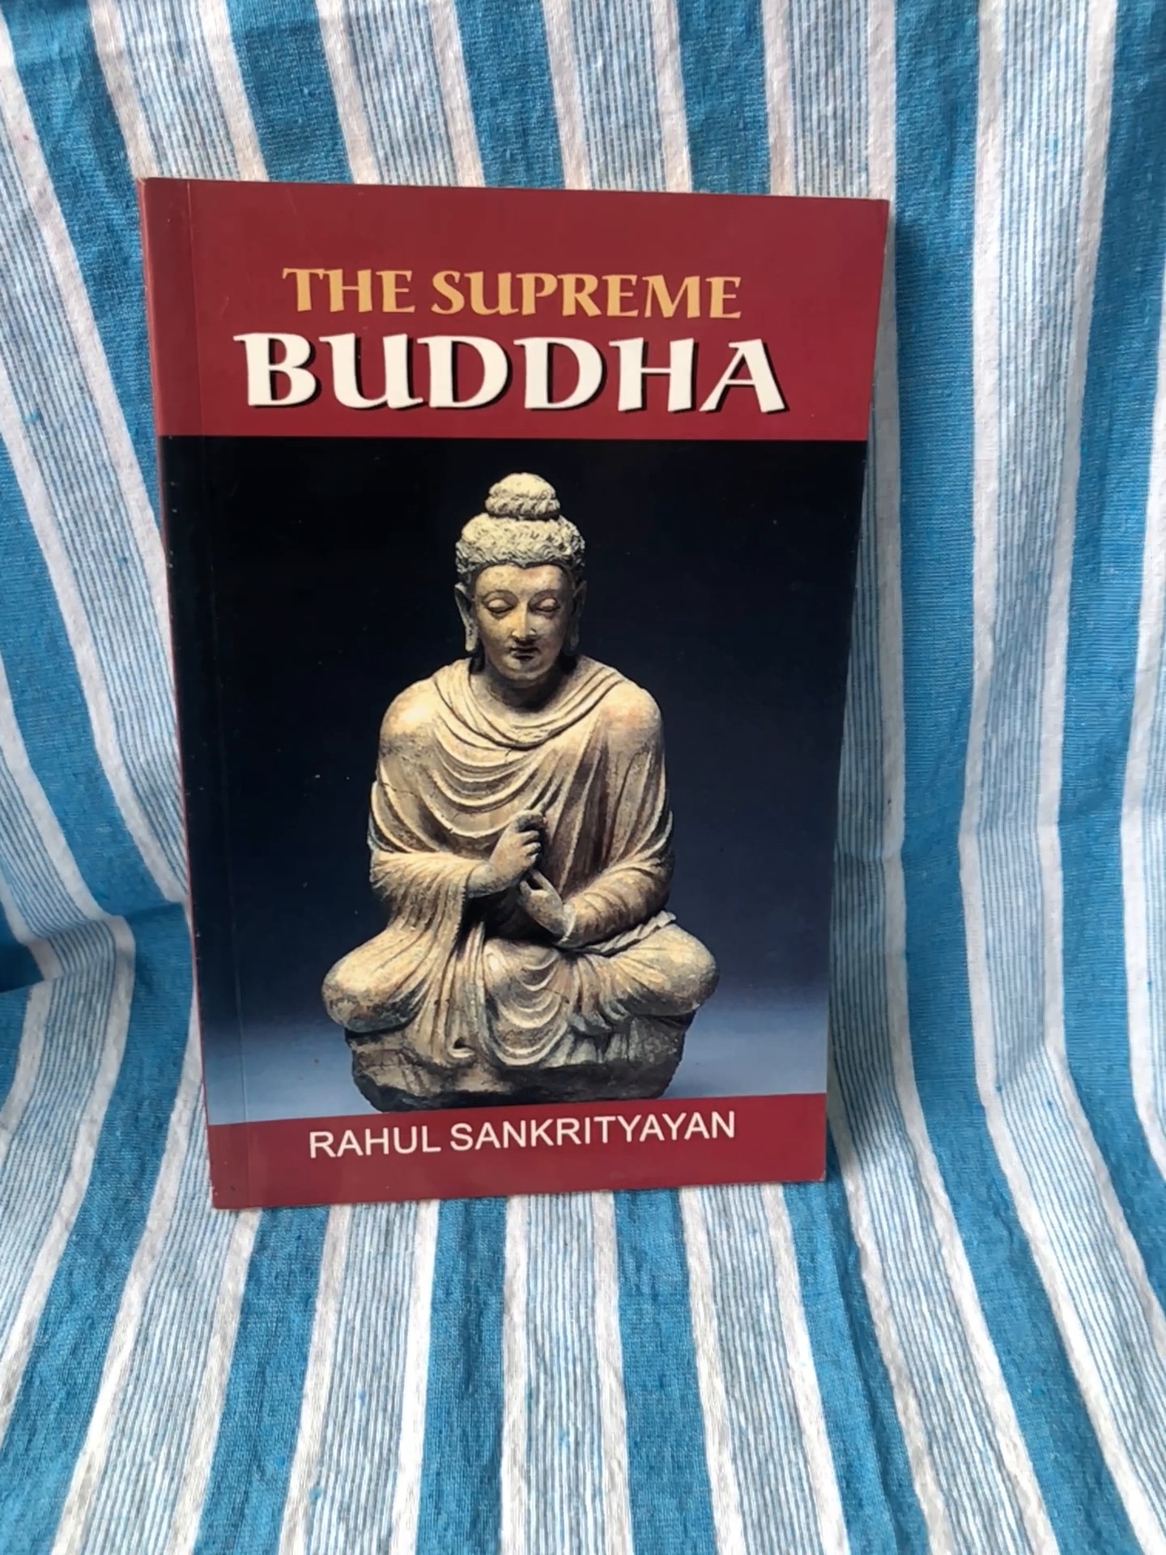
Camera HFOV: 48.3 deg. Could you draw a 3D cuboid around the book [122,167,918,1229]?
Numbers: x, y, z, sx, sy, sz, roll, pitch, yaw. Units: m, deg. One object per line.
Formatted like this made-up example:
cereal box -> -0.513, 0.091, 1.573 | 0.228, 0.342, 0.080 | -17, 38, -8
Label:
book -> -0.012, -0.009, 0.281 | 0.150, 0.219, 0.020 | -1, 14, -6
